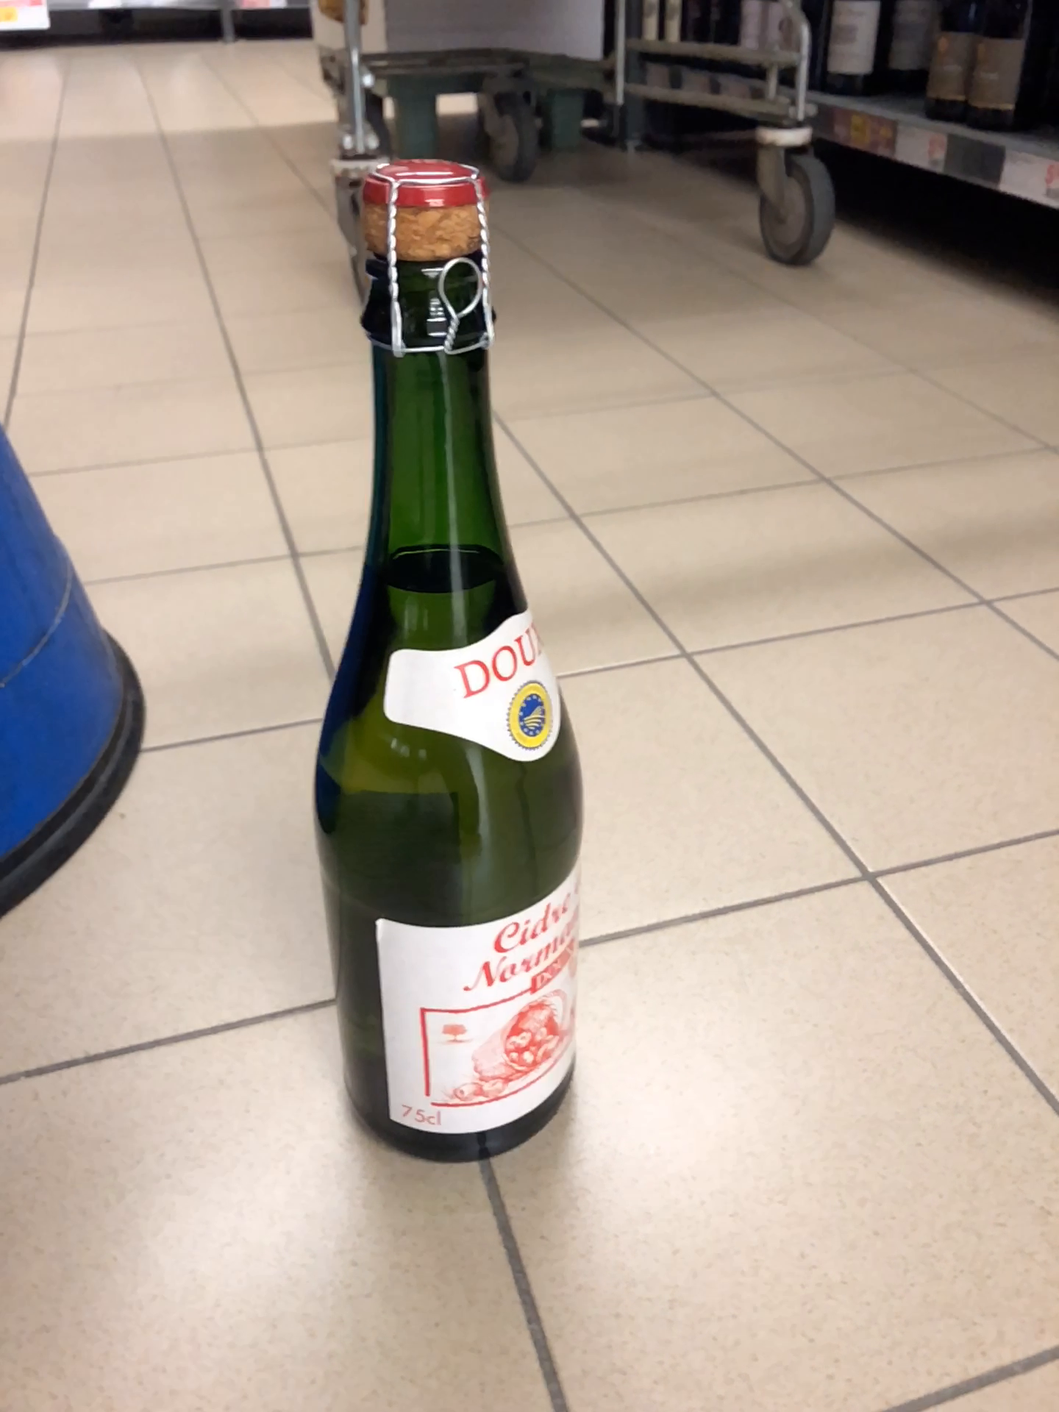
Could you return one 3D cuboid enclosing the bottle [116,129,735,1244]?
[{"bbox_3d":[-0.021,0.004,0.333,0.100,0.288,0.090,-28,42,-36],"label":"bottle"}]
